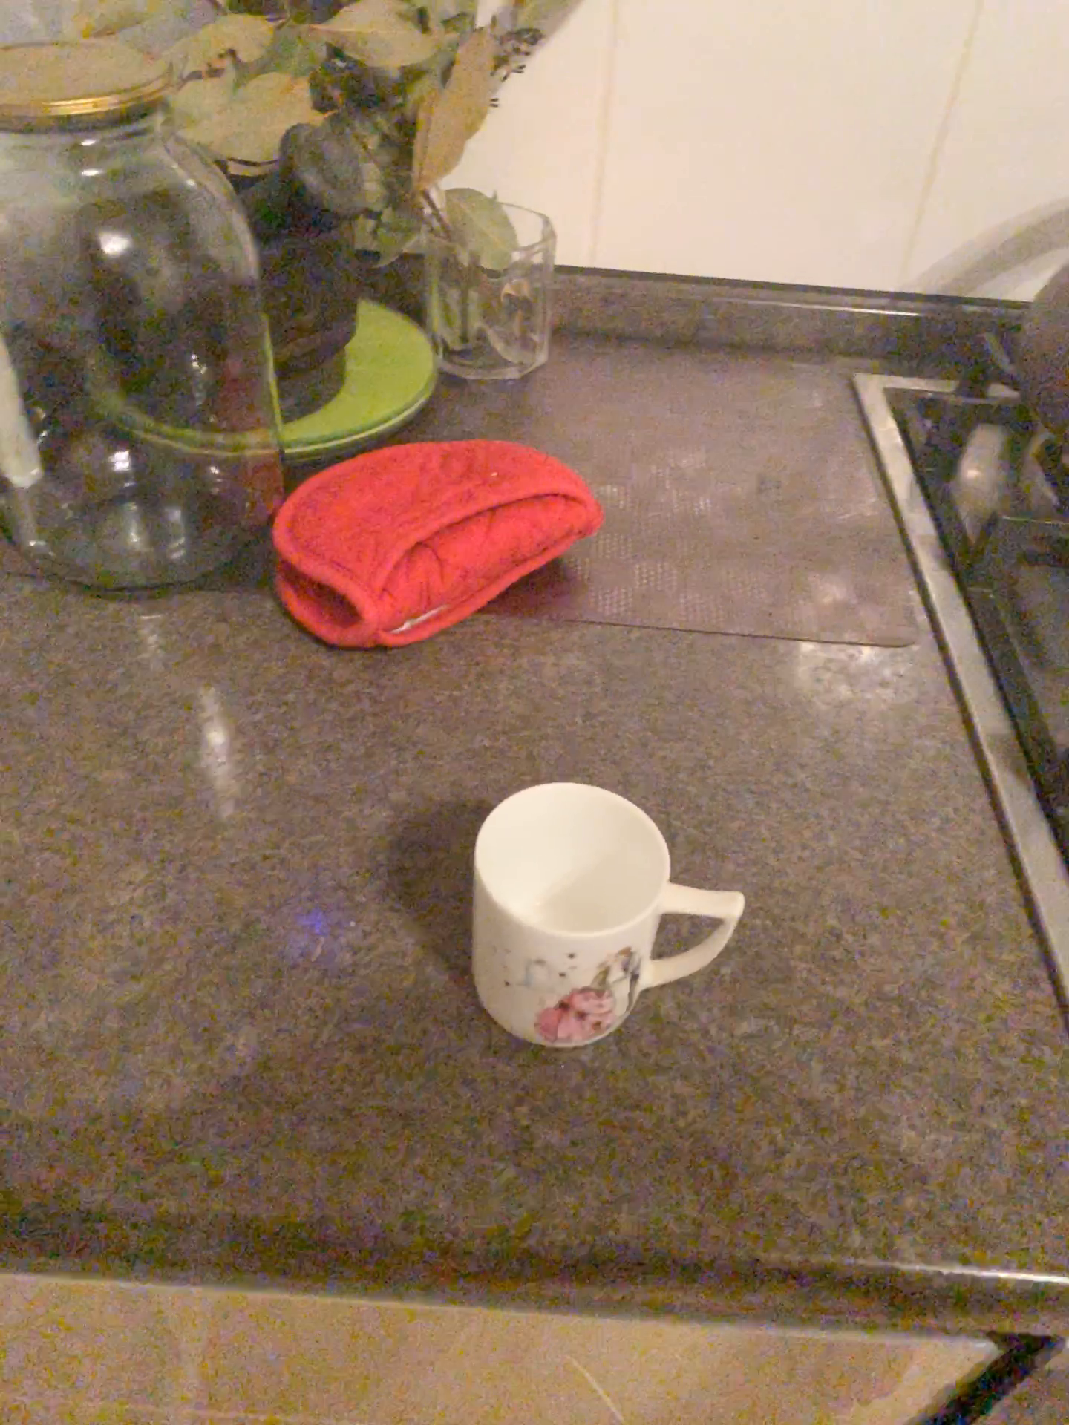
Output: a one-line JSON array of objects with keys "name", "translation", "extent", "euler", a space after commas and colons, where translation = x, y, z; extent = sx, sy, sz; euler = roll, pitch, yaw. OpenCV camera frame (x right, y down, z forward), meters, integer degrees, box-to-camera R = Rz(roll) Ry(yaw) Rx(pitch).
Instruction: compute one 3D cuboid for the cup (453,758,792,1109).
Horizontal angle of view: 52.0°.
[{"name": "cup", "translation": [0.026, 0.068, 0.342], "extent": [0.090, 0.069, 0.061], "euler": [11, 43, 8]}]
